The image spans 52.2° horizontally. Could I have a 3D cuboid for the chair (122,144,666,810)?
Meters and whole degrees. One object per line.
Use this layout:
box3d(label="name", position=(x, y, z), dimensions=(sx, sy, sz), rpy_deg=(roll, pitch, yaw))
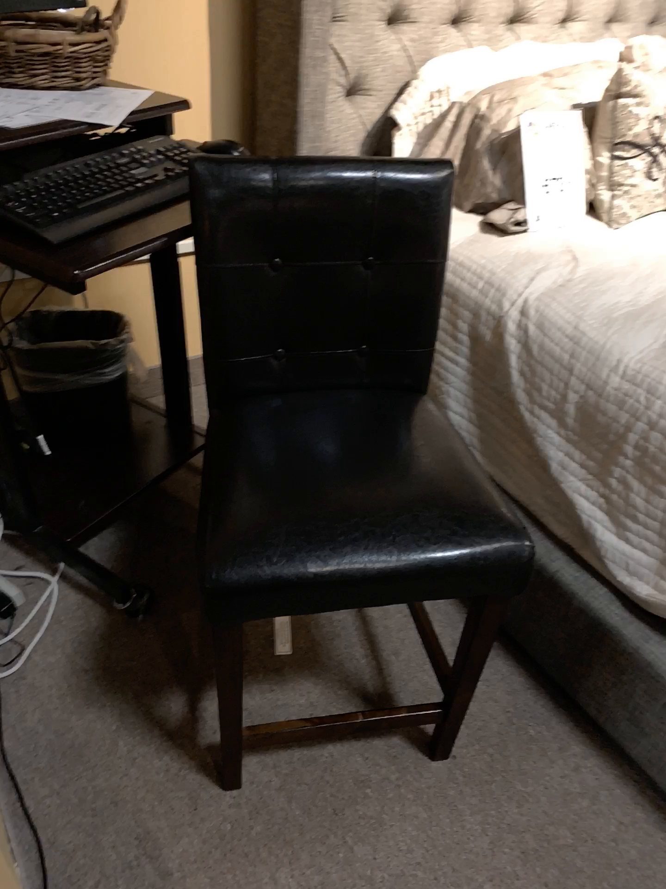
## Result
box3d(label="chair", position=(0.015, 0.074, 1.106), dimensions=(0.558, 0.912, 0.520), rpy_deg=(-3, 38, -11))
